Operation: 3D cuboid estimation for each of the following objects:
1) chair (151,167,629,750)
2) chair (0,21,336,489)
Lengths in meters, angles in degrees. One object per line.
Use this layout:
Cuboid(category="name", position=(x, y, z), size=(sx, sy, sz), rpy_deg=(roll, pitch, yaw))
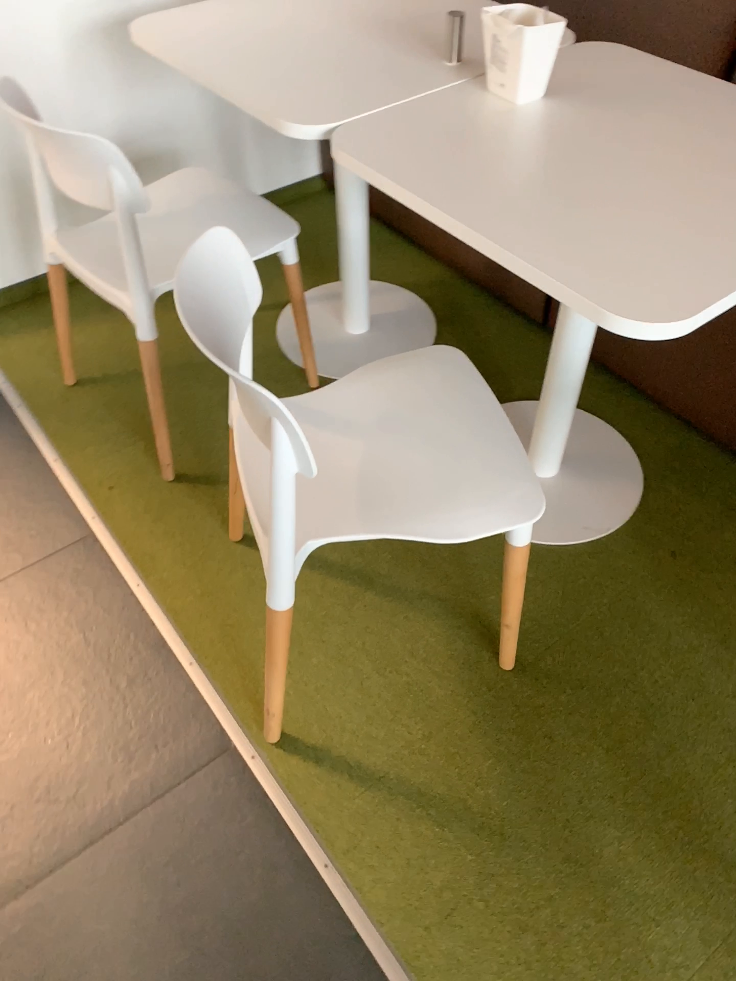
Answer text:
Cuboid(category="chair", position=(-0.009, -0.021, 1.241), size=(0.500, 0.746, 0.512), rpy_deg=(-10, 50, -8))
Cuboid(category="chair", position=(-0.466, -0.529, 1.712), size=(0.511, 0.727, 0.561), rpy_deg=(-36, 57, -26))
